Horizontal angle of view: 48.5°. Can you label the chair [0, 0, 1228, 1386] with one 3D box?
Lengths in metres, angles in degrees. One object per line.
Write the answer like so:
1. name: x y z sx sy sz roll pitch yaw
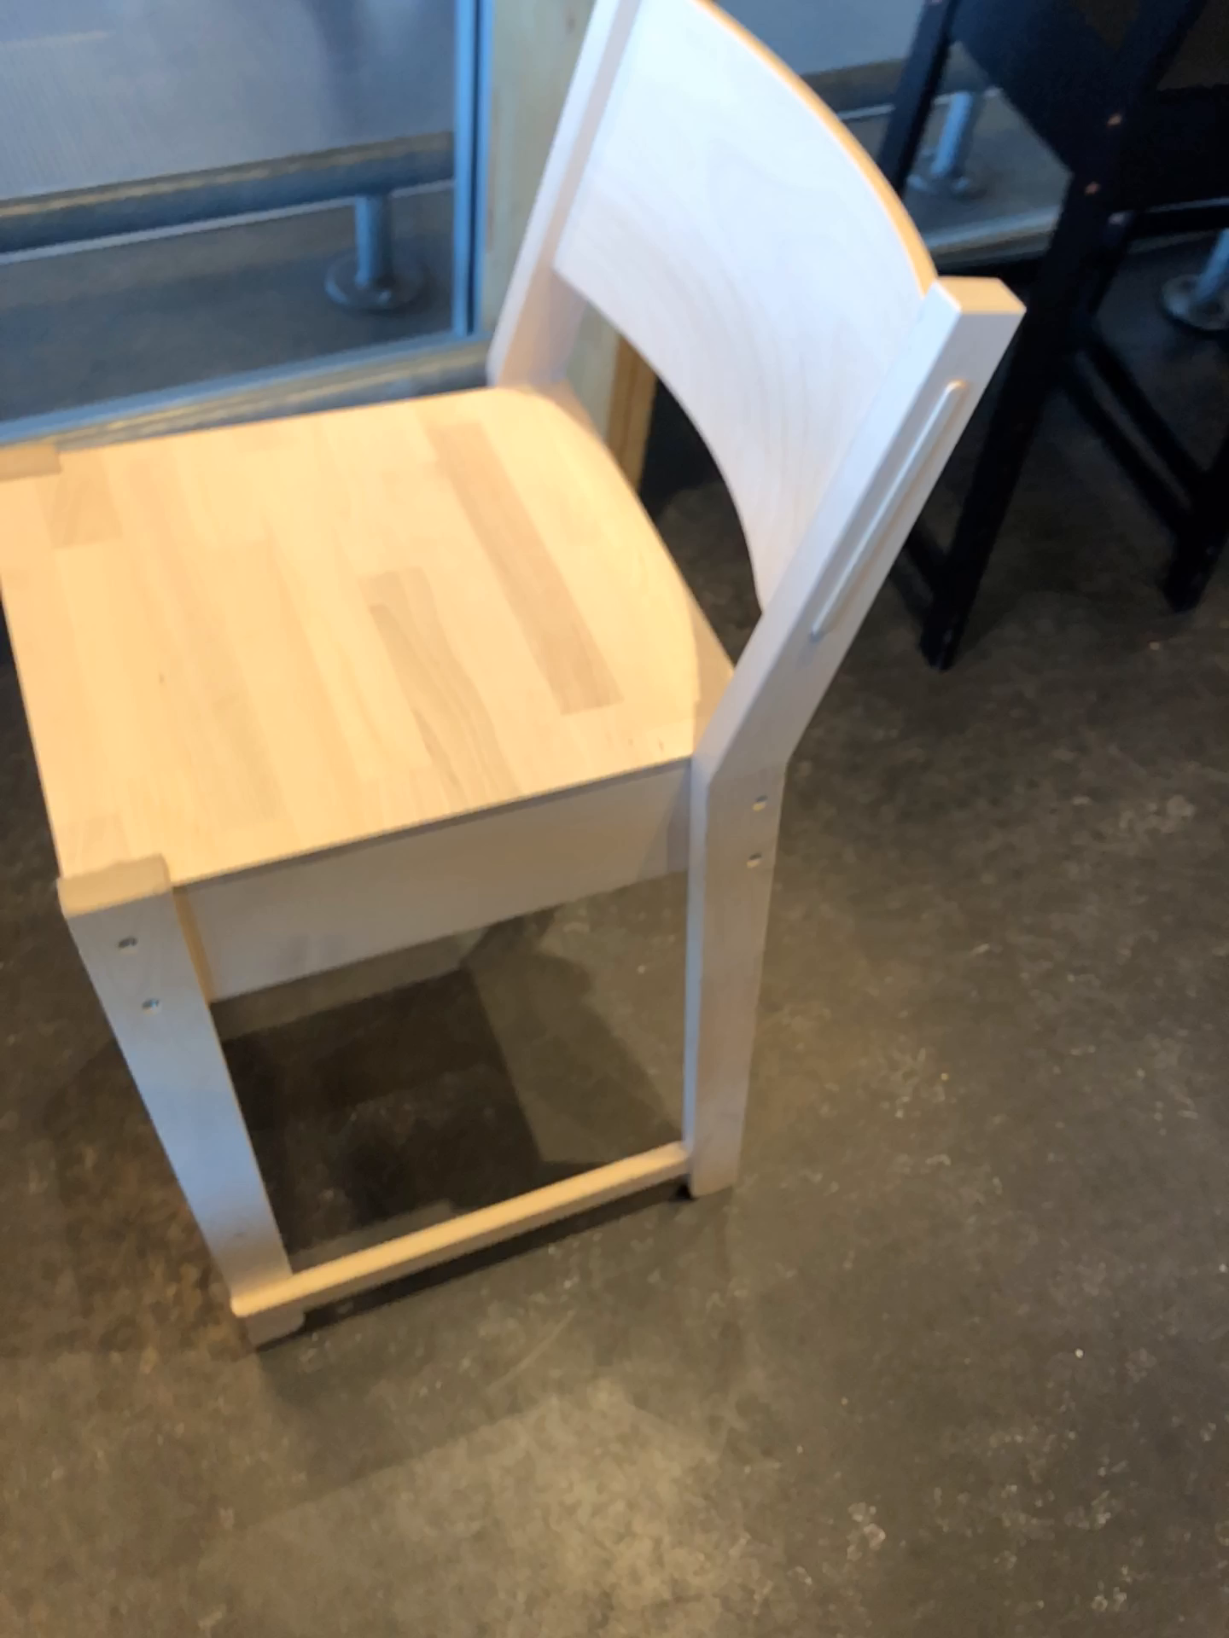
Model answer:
1. chair: -0.103 -0.046 0.955 0.540 0.977 0.461 -15 58 -17
